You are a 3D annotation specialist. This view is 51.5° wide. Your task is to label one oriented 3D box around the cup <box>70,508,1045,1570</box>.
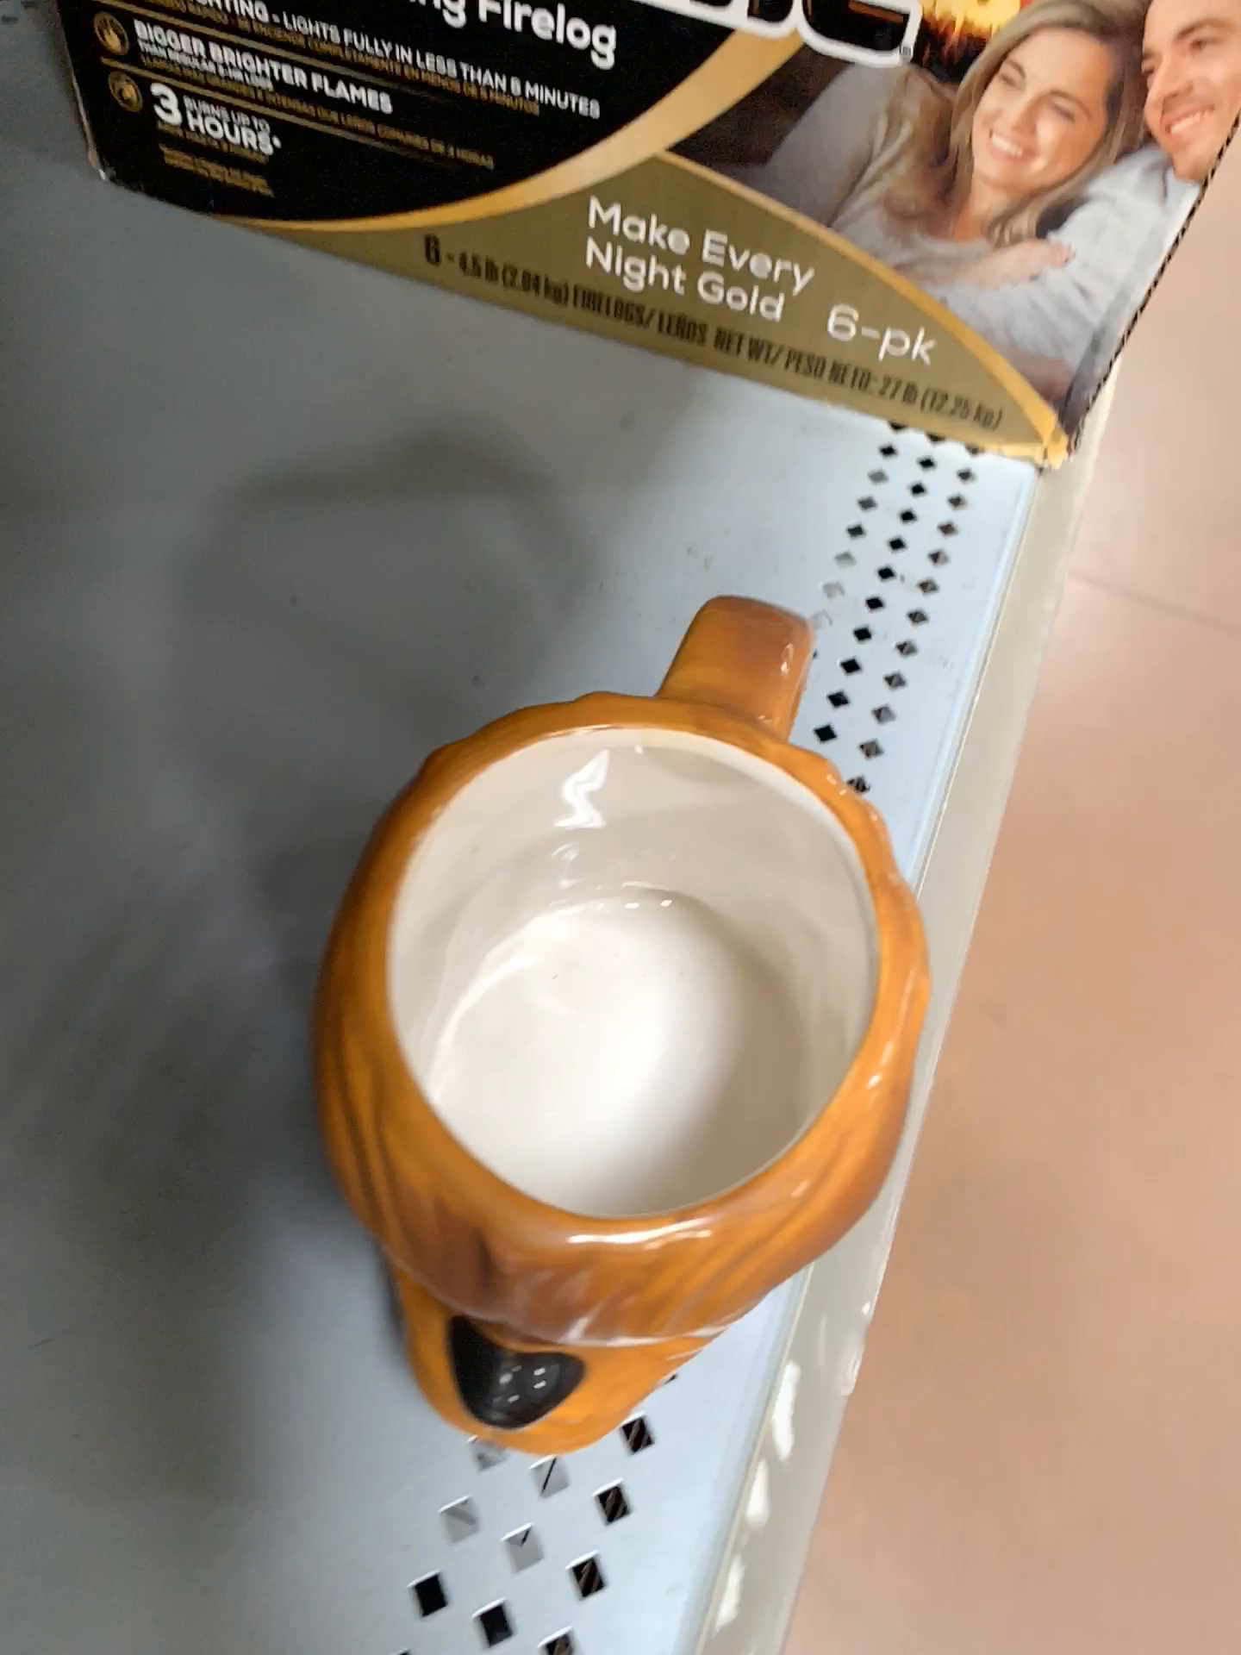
[{"bbox_3d":[-0.005,0.048,0.245,0.097,0.138,0.131,21,59,7],"label":"cup"}]
